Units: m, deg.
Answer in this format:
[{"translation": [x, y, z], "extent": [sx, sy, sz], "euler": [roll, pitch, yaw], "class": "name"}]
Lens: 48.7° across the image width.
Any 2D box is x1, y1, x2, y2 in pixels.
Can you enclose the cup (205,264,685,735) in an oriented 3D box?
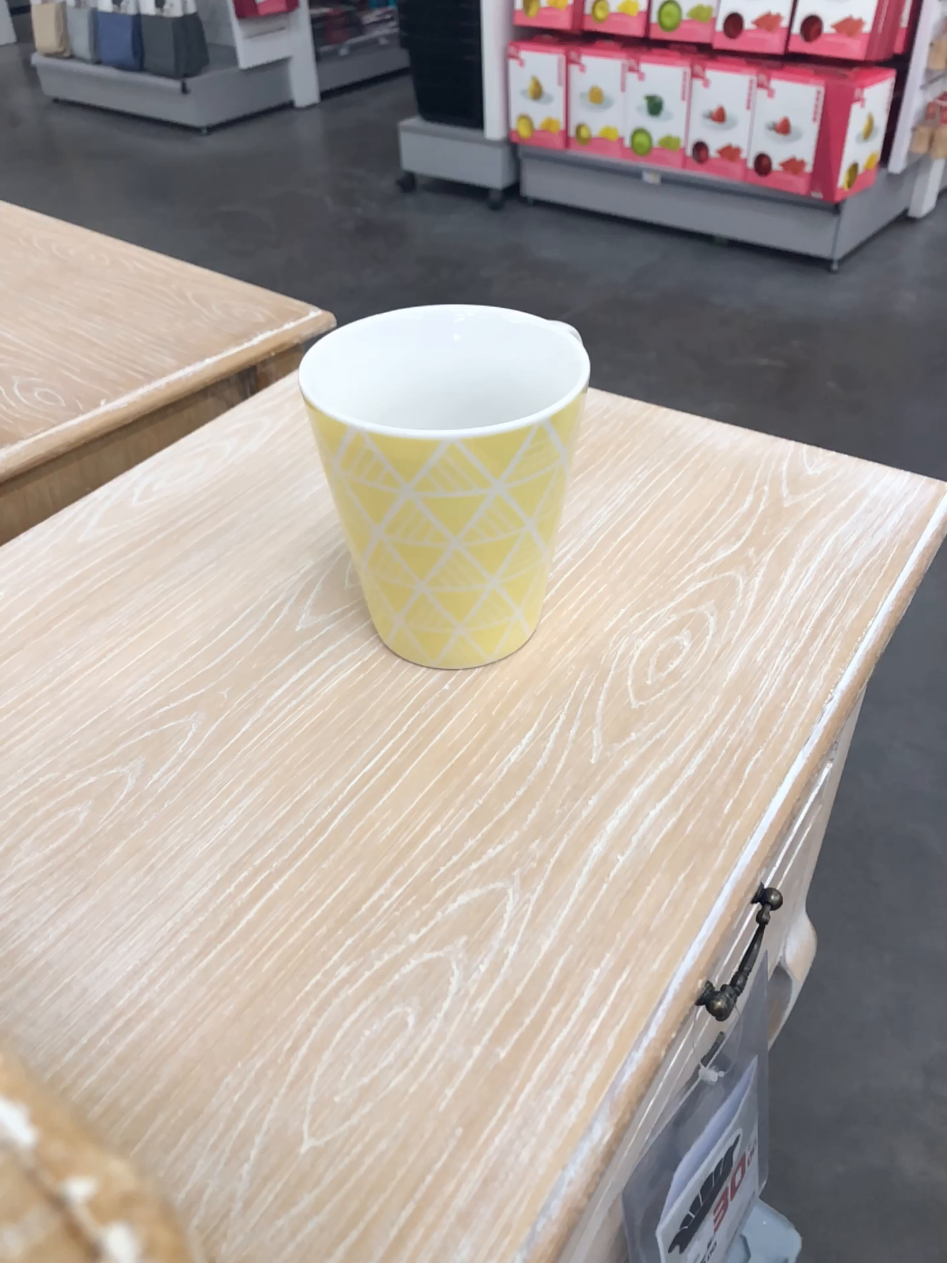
[{"translation": [-0.002, -0.053, 0.358], "extent": [0.102, 0.090, 0.126], "euler": [18, 43, 23], "class": "cup"}]
